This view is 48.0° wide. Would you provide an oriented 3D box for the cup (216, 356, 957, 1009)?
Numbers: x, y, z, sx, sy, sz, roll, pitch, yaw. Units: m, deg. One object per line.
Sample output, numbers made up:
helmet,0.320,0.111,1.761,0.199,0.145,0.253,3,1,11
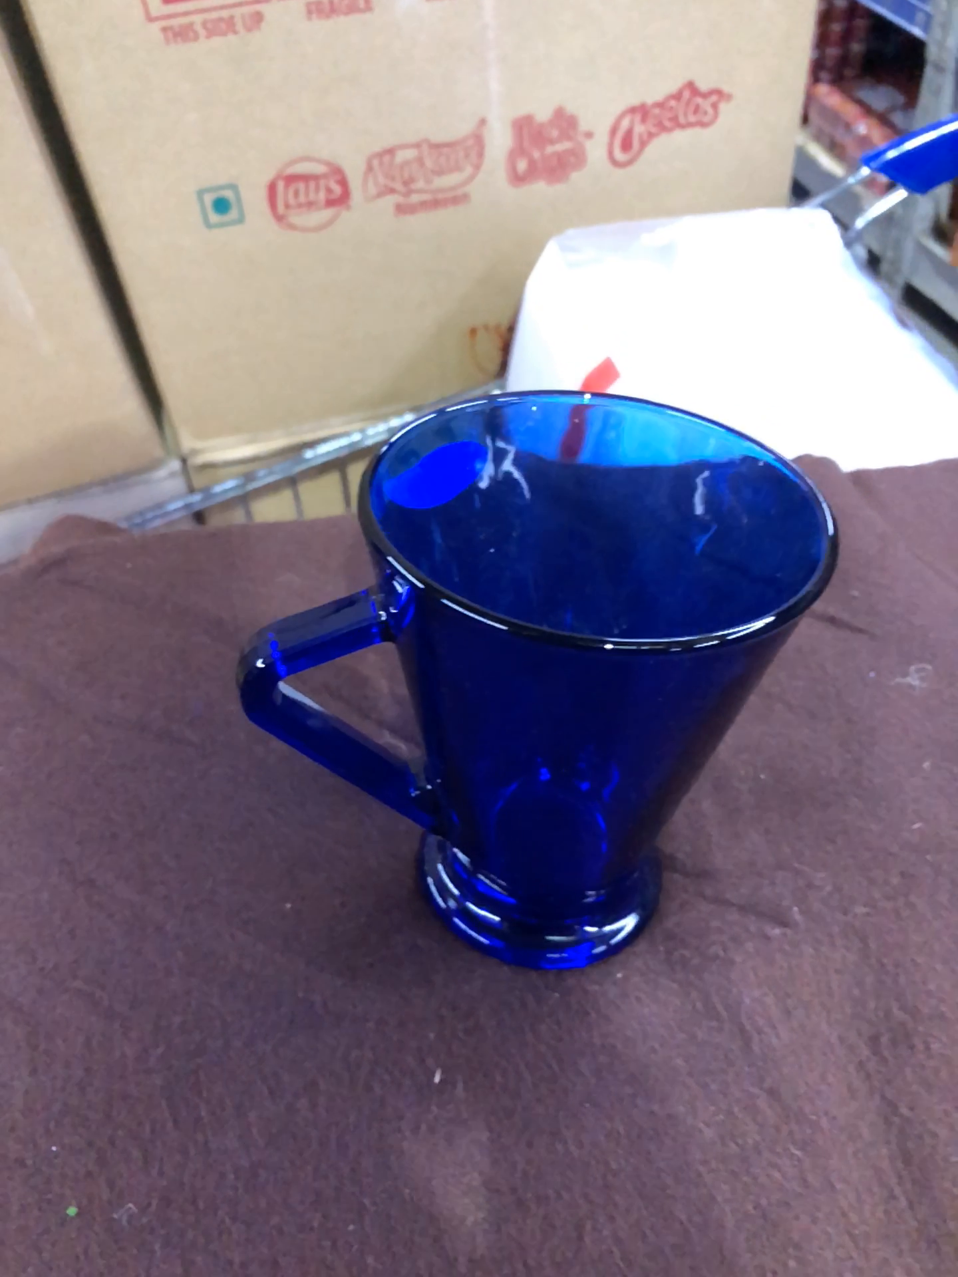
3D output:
cup,0.010,0.012,0.217,0.110,0.109,0.070,-4,48,-8
